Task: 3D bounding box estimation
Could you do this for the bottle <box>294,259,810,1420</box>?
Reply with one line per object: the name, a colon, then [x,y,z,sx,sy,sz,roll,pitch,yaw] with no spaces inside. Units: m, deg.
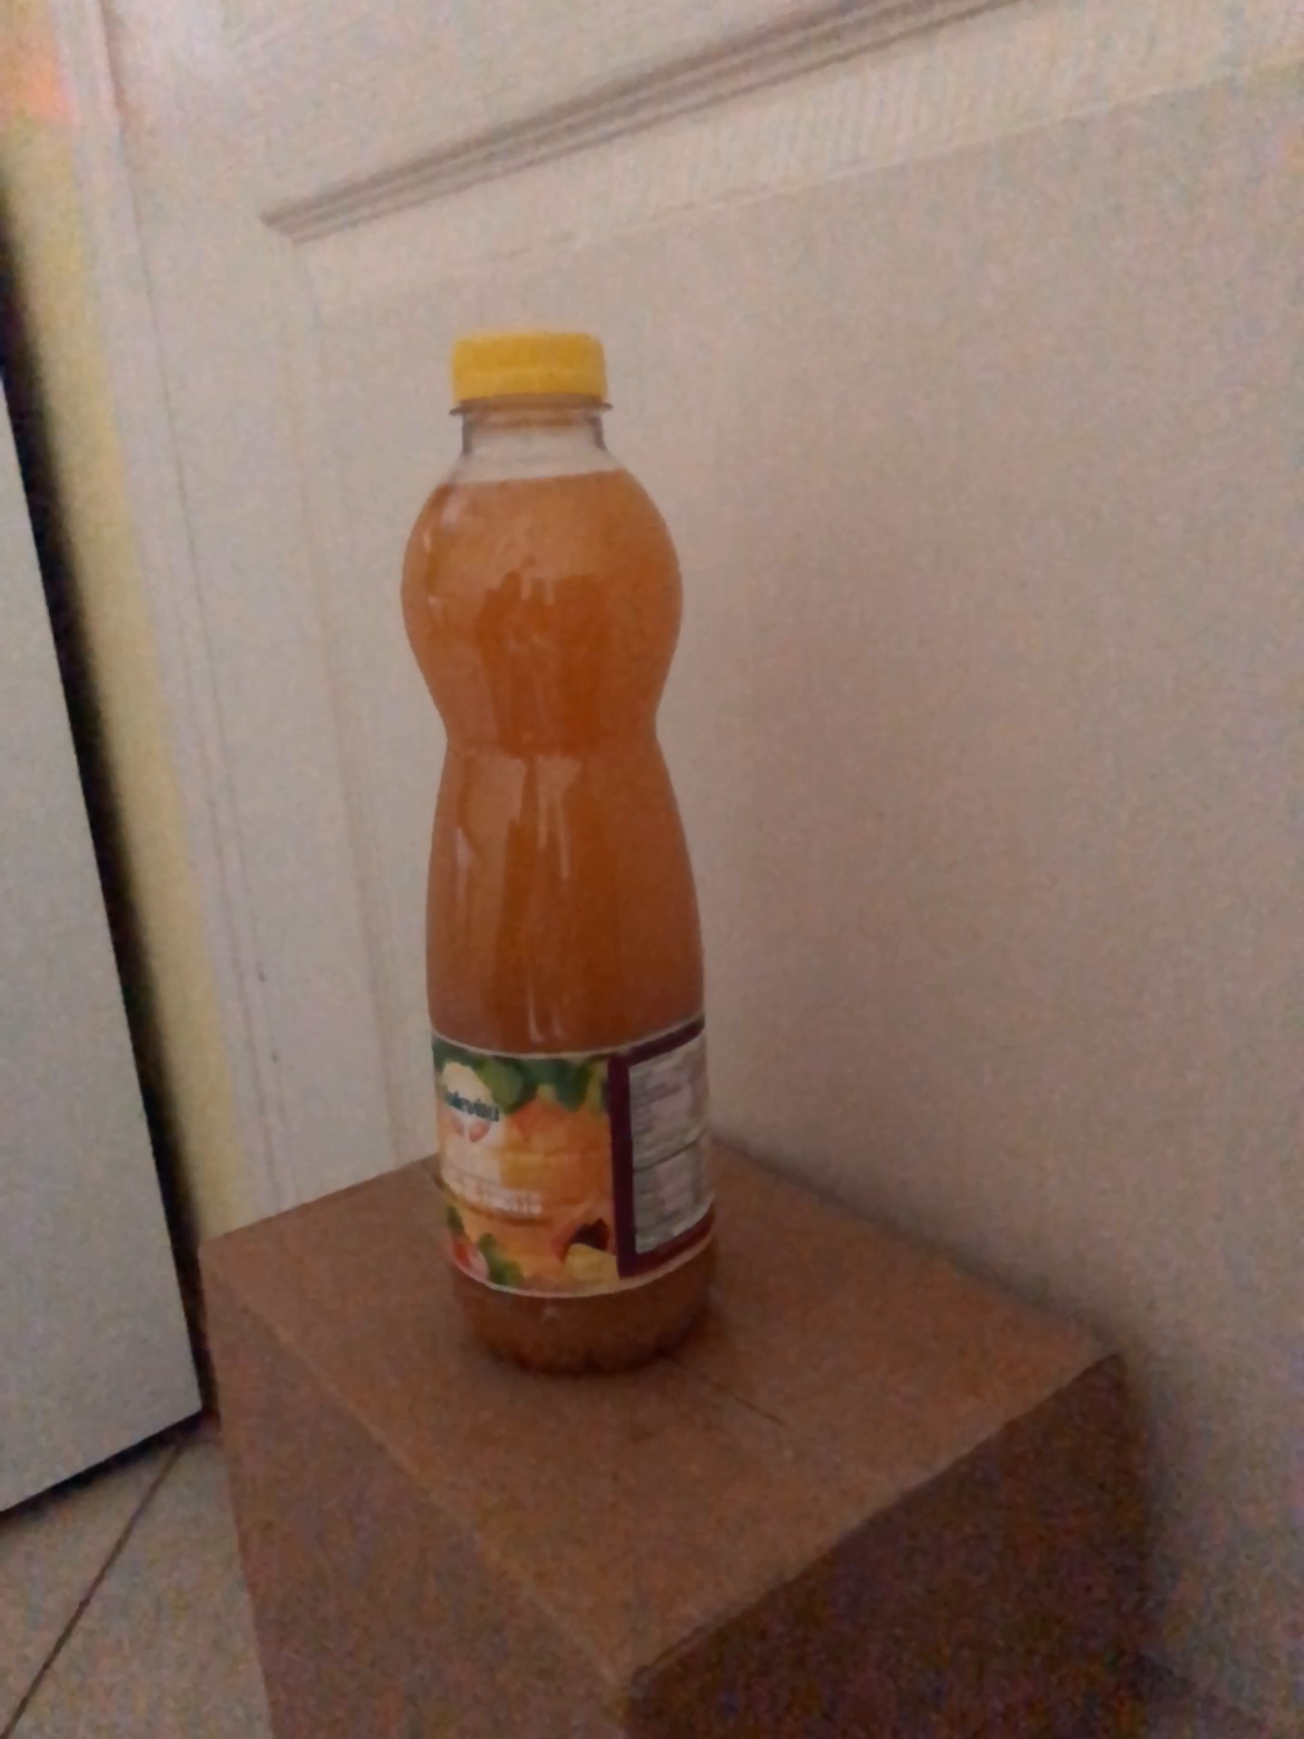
bottle: [-0.019,-0.007,0.387,0.080,0.279,0.080,-4,16,1]
